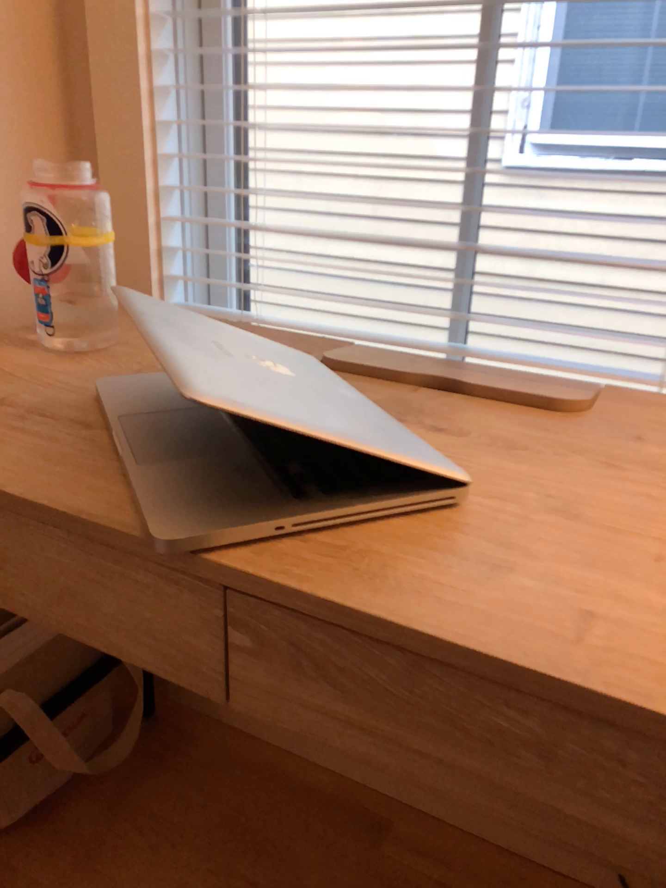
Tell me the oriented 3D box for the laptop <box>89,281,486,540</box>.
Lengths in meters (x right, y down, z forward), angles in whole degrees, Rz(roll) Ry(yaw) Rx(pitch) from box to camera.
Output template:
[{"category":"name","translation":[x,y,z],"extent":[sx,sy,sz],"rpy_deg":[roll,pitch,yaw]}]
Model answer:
[{"category":"laptop","translation":[-0.063,-0.056,0.596],"extent":[0.229,0.089,0.319],"rpy_deg":[-7,24,-21]}]
